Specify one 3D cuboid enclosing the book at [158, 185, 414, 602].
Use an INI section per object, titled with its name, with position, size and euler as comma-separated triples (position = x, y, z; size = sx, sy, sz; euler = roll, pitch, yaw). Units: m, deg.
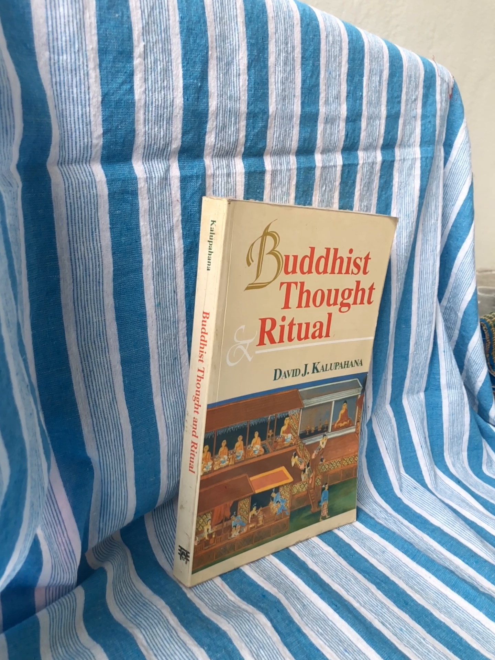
[book]
position = 0.027, 0.035, 0.329
size = 0.151, 0.219, 0.020
euler = -4, 17, -40
